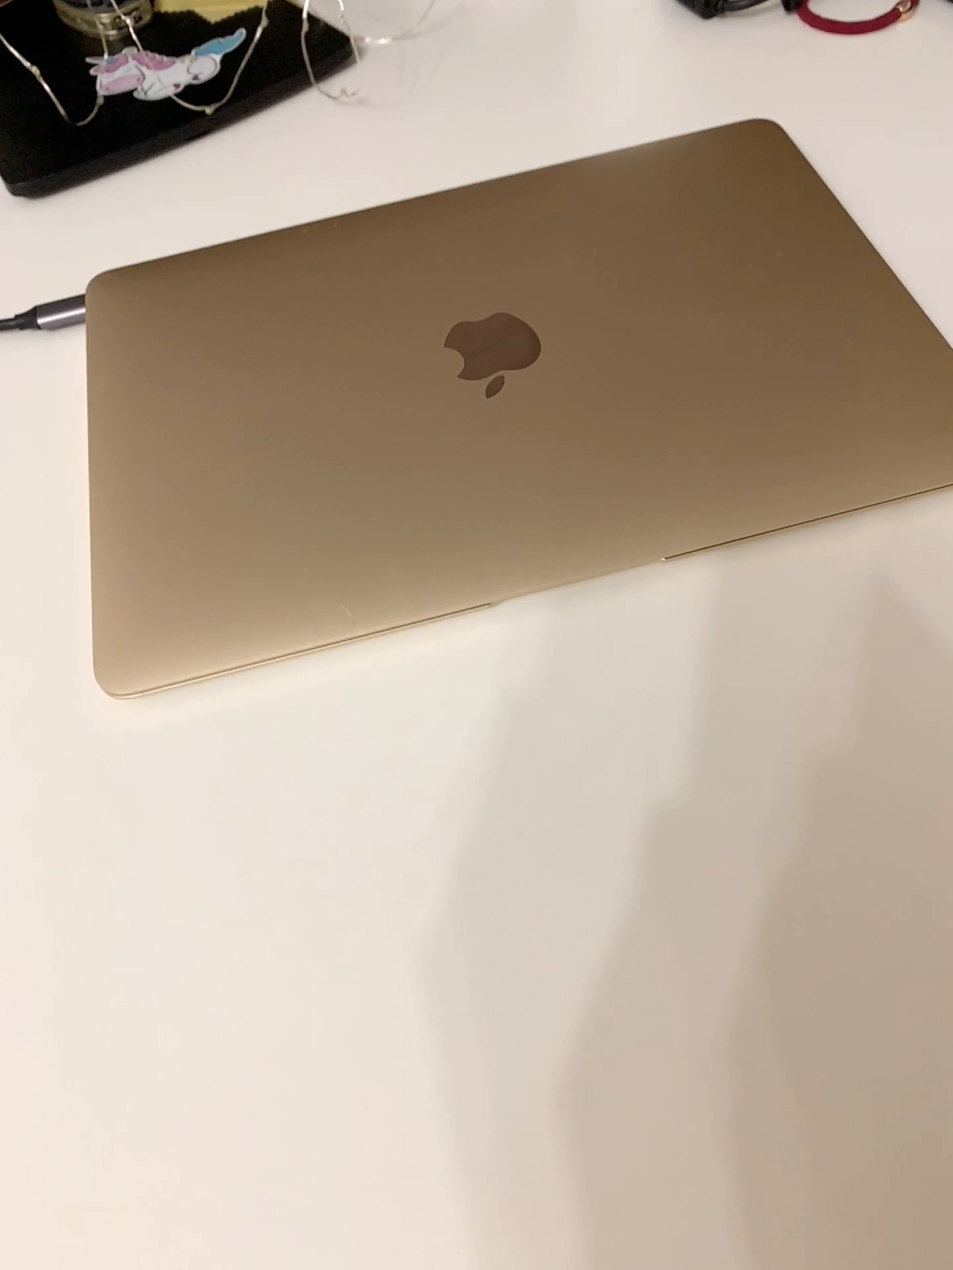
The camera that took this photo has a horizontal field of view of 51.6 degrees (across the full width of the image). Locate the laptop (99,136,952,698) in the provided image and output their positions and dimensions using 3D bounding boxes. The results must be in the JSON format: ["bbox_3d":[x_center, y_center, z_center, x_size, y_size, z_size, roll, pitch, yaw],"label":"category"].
[{"bbox_3d":[0.008,-0.088,0.329,0.255,0.013,0.174,-14,58,-5],"label":"laptop"}]
